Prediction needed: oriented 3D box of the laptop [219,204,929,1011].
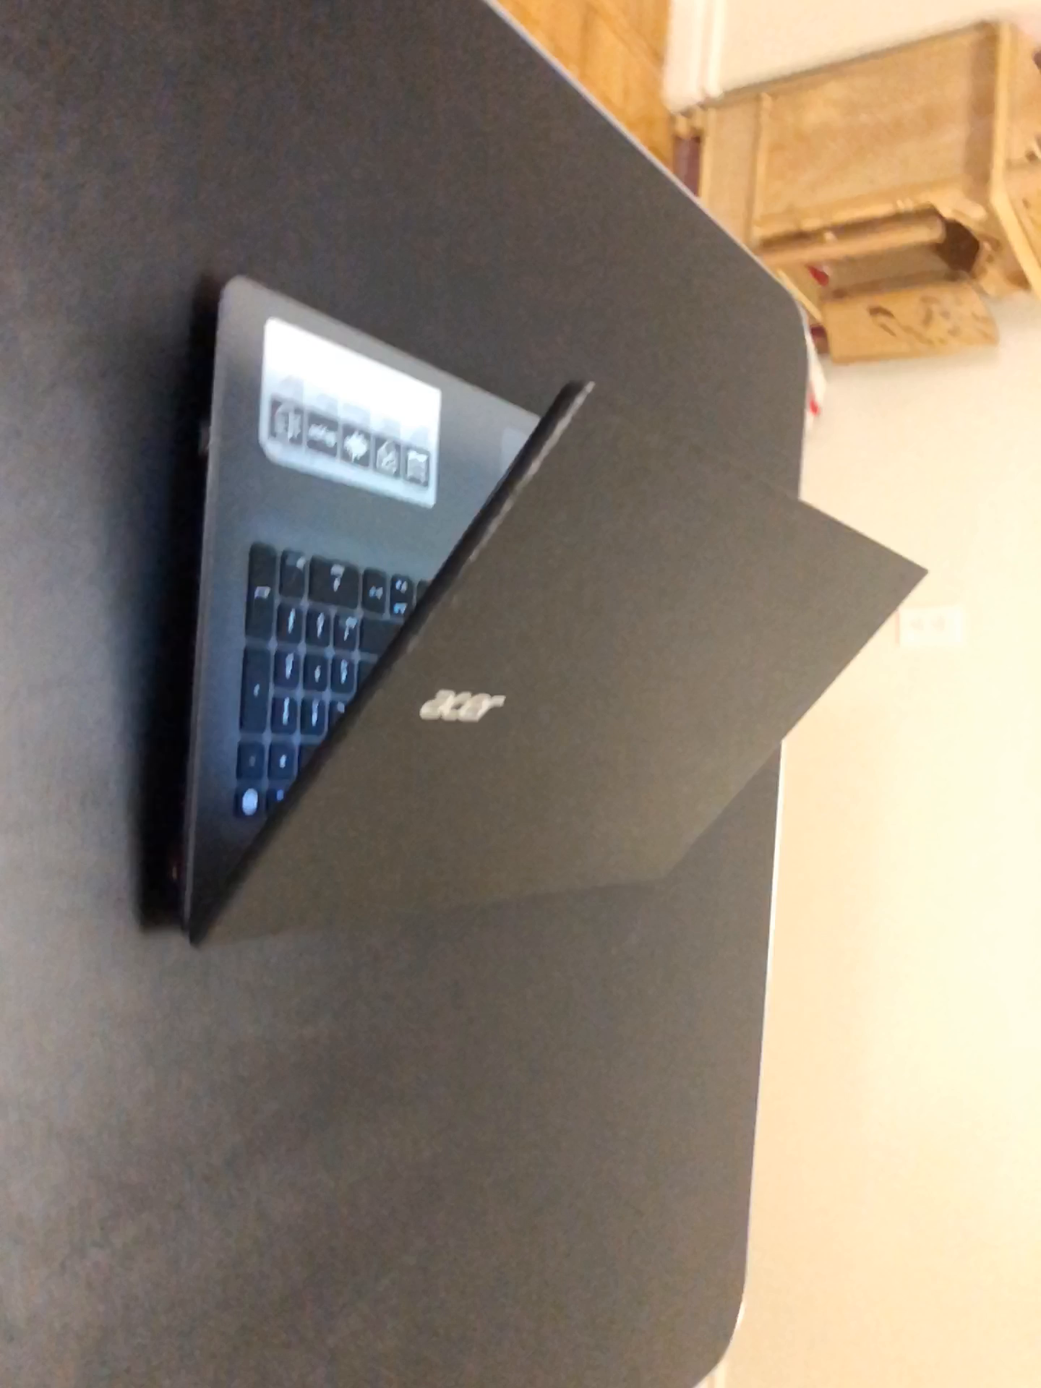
[{"bbox_3d":[0.061,-0.020,0.551,0.371,0.155,0.251,6,86,-56],"label":"laptop"}]
